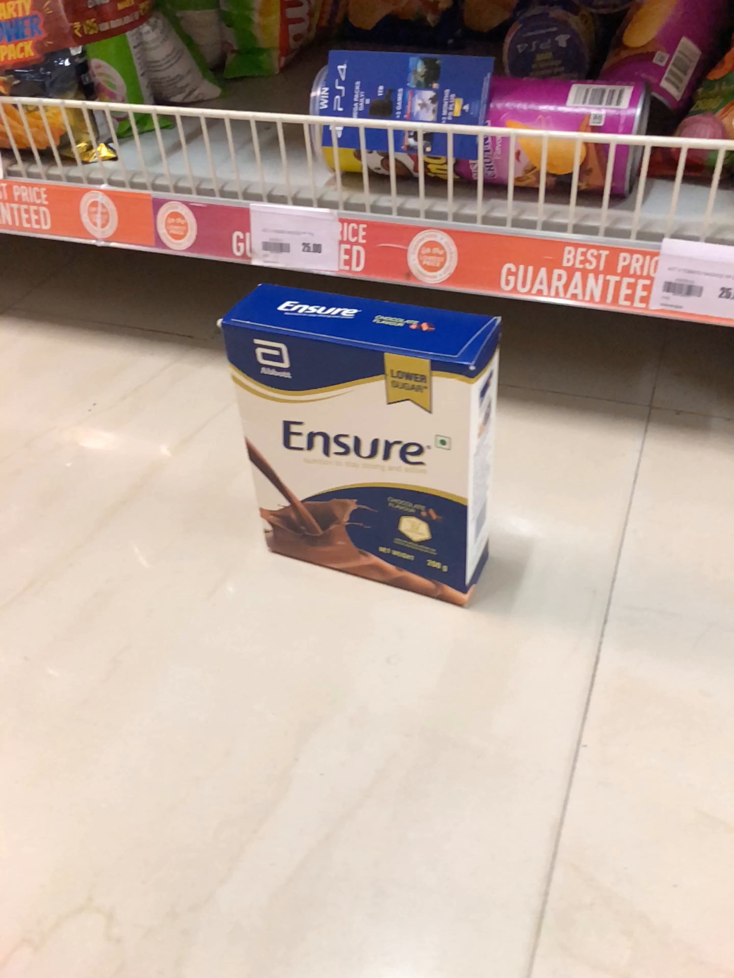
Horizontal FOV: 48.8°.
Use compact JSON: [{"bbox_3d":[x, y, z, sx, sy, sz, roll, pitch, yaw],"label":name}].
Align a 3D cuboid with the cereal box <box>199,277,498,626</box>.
[{"bbox_3d":[-0.004,-0.017,0.458,0.140,0.179,0.050,14,45,21],"label":"cereal box"}]
